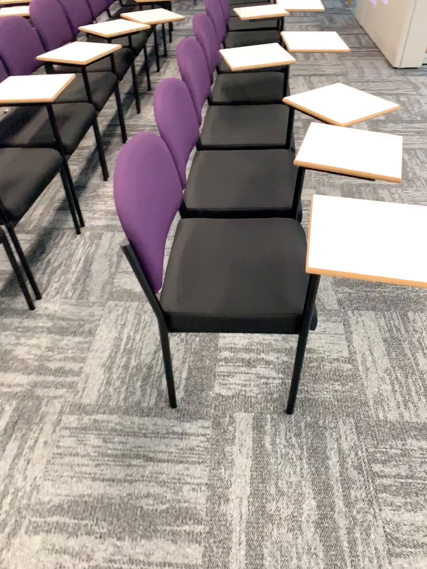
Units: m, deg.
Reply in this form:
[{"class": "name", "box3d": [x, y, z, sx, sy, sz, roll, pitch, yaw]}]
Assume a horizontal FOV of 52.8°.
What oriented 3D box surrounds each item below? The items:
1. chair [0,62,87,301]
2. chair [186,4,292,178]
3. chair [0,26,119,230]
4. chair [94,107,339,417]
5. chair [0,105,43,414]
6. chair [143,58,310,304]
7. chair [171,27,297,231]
[{"class": "chair", "box3d": [-0.940, -0.413, 1.768, 0.501, 0.781, 0.520, 5, 43, 7]}, {"class": "chair", "box3d": [0.144, -1.104, 2.489, 0.500, 0.791, 0.521, 1, 42, 4]}, {"class": "chair", "box3d": [-0.865, -0.769, 2.140, 0.501, 0.801, 0.520, 5, 43, 8]}, {"class": "chair", "box3d": [0.029, -0.048, 1.337, 0.500, 0.801, 0.521, 1, 42, 4]}, {"class": "chair", "box3d": [-1.016, -0.064, 1.383, 0.501, 0.801, 0.520, 6, 43, 8]}, {"class": "chair", "box3d": [0.061, -0.395, 1.718, 0.490, 0.791, 0.521, 1, 42, 4]}, {"class": "chair", "box3d": [0.104, -0.745, 2.105, 0.480, 0.791, 0.521, 1, 42, 4]}]
